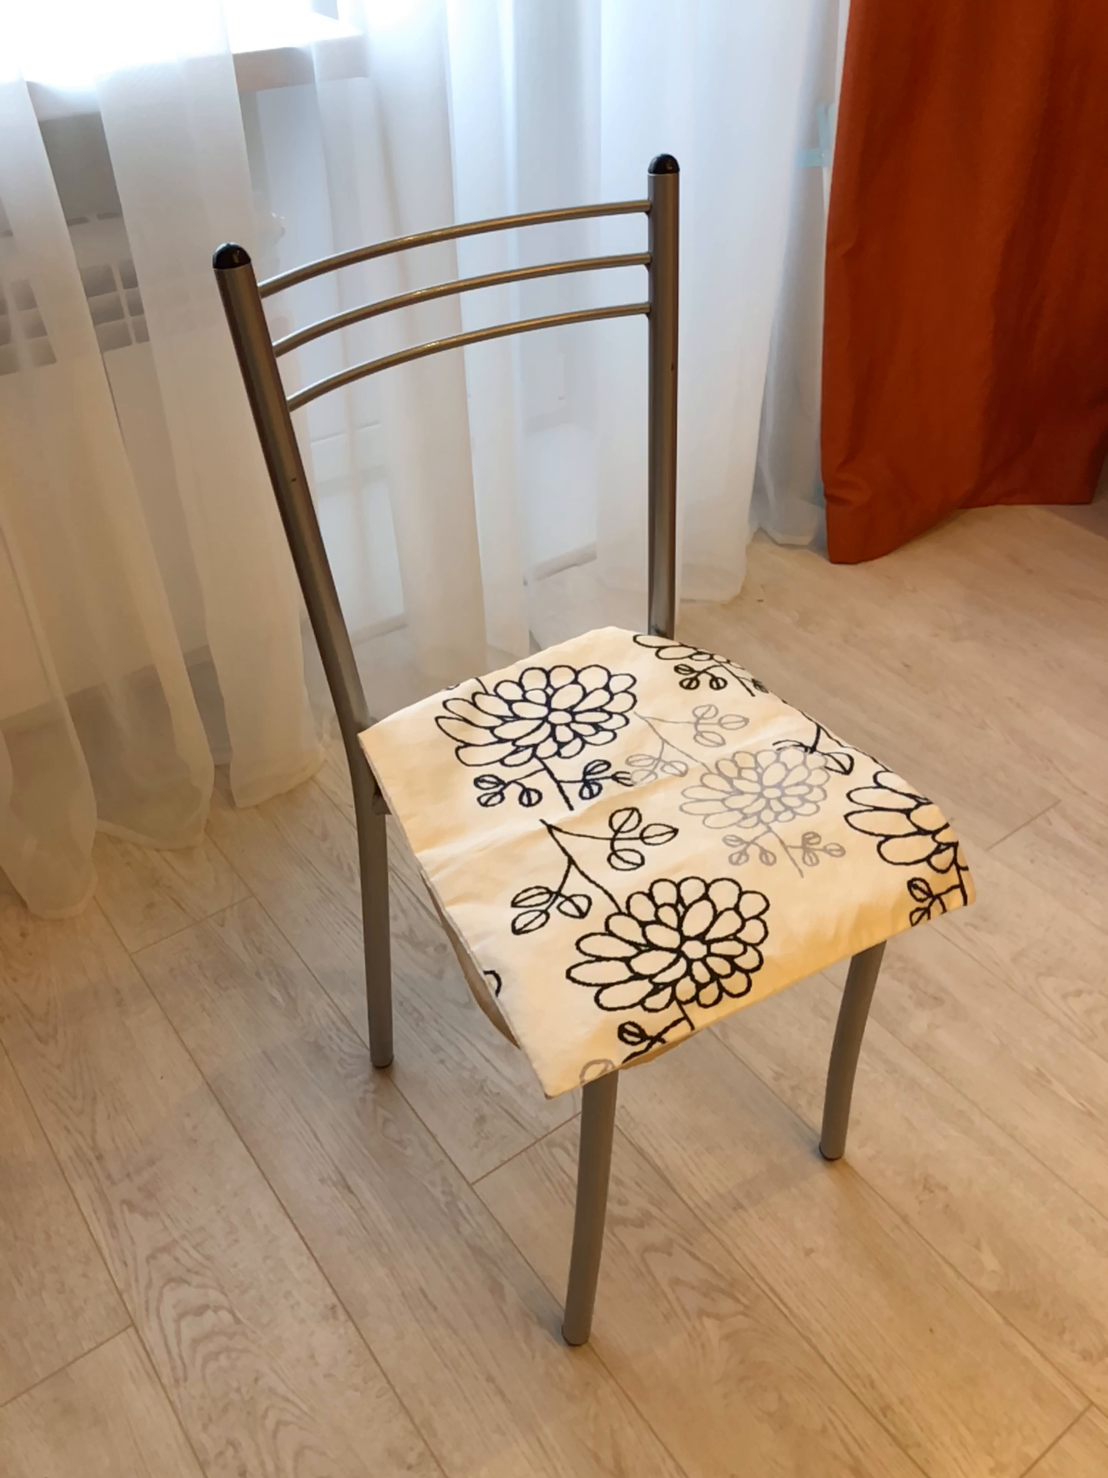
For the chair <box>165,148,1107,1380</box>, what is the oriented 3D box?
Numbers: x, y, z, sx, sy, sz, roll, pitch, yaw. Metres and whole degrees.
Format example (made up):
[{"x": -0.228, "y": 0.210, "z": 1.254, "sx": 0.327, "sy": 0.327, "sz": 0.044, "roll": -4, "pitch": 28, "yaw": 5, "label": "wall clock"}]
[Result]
[{"x": 0.054, "y": 0.027, "z": 0.985, "sx": 0.421, "sy": 0.794, "sz": 0.442, "roll": -25, "pitch": 45, "yaw": -27, "label": "chair"}]
